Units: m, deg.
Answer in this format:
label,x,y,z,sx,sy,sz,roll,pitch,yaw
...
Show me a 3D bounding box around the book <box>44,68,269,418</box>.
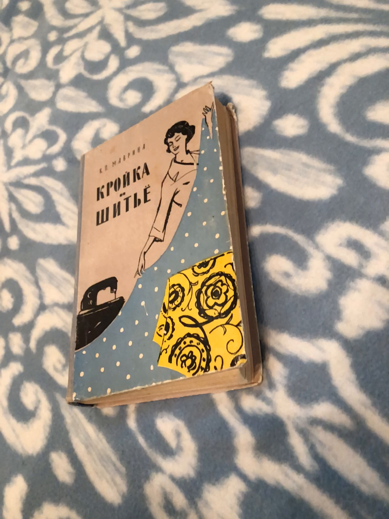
label,x,y,z,sx,sy,sz,roll,pitch,yaw
book,-0.035,-0.013,0.324,0.152,0.037,0.232,-20,58,30
